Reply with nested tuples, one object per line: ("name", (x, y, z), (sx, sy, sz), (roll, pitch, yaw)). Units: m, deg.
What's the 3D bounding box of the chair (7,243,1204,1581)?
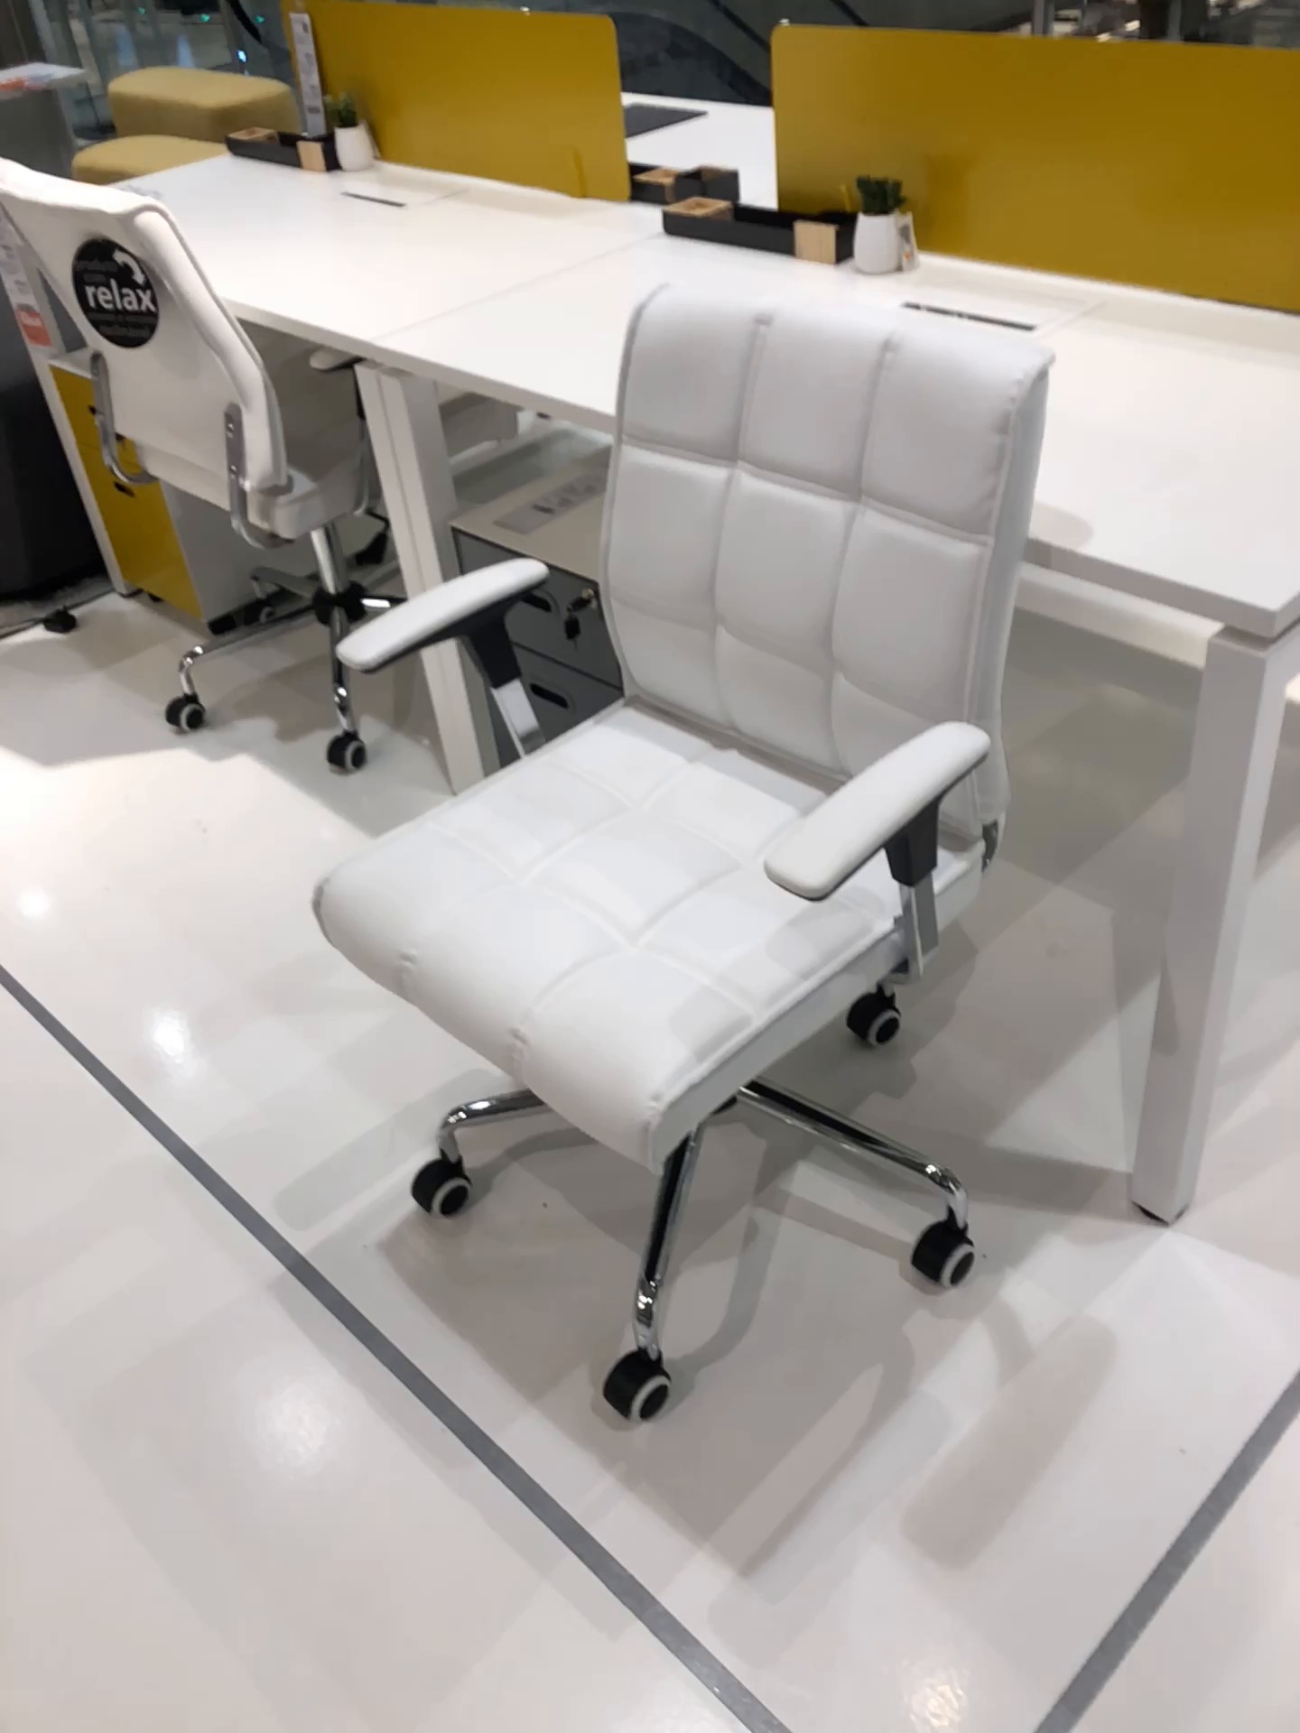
("chair", (0.003, -0.001, 1.341), (0.652, 0.883, 0.633), (26, 49, 36))
